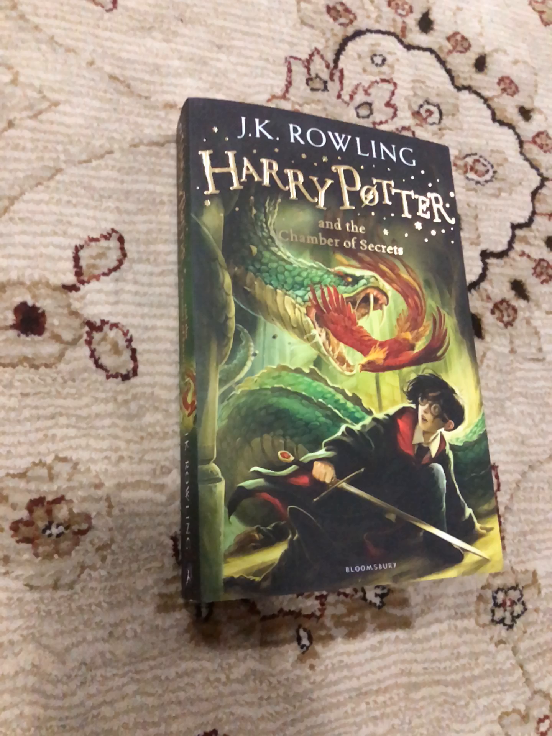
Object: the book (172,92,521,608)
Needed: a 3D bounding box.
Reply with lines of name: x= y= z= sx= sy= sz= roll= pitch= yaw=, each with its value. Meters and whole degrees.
book: x=0.025 y=-0.012 z=0.263 sx=0.131 sy=0.030 sz=0.200 roll=2 pitch=74 yaw=-20
